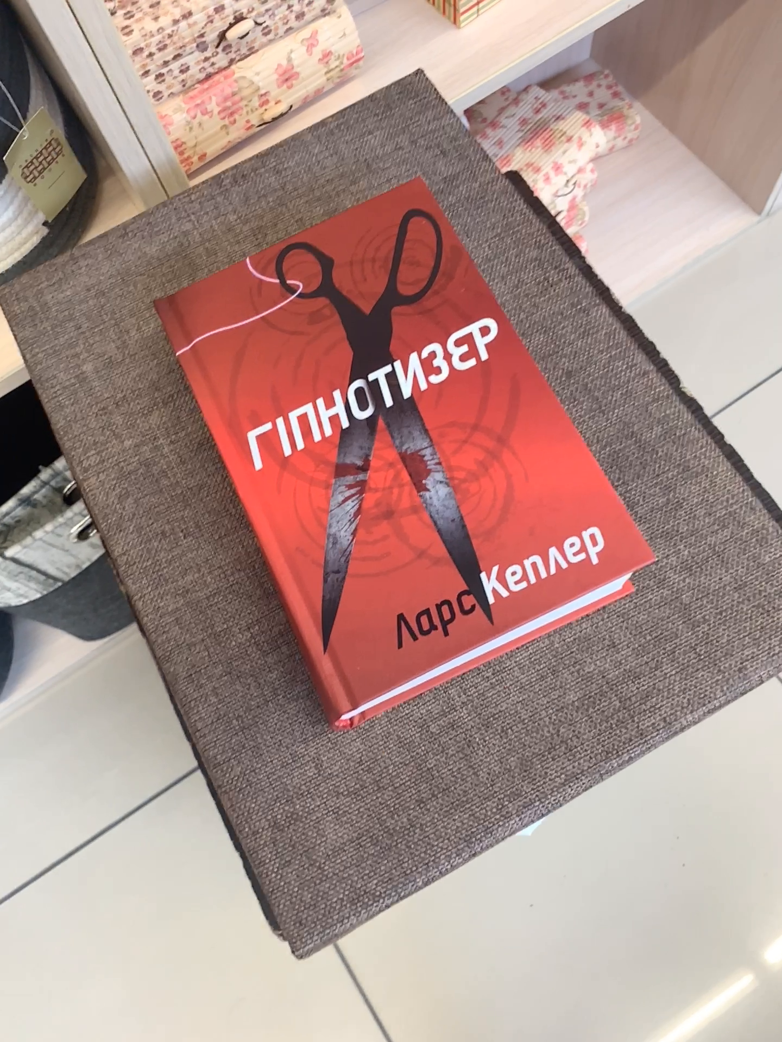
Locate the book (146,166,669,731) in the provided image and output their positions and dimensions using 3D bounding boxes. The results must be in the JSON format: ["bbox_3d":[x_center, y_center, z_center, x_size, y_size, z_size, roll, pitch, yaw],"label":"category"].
[{"bbox_3d":[0.000,-0.034,0.336,0.132,0.050,0.195,-26,72,-2],"label":"book"}]
